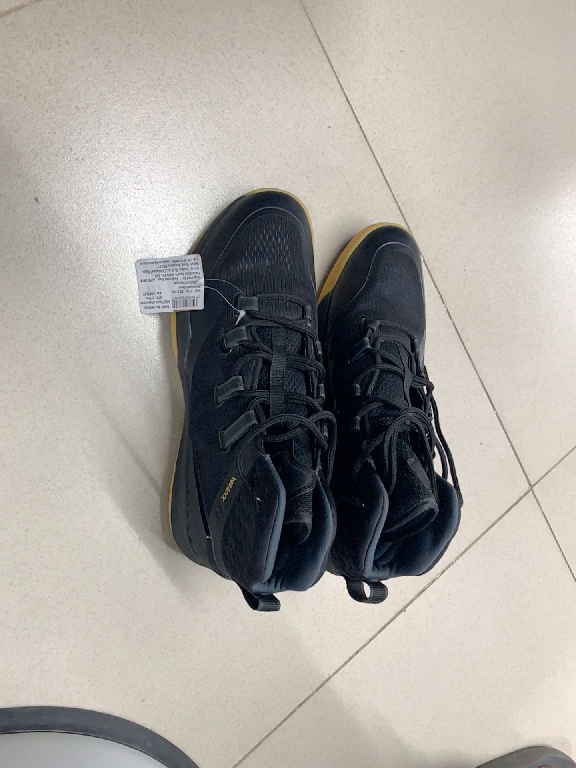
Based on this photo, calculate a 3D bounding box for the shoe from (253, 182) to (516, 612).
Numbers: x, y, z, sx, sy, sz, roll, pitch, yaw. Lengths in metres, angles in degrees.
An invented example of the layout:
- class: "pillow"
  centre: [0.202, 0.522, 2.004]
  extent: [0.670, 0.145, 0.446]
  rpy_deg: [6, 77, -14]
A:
- class: "shoe"
  centre: [0.071, 0.013, 0.461]
  extent: [0.110, 0.090, 0.290]
  rpy_deg: [14, 89, -24]

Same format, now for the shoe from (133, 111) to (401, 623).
- class: "shoe"
  centre: [-0.025, -0.007, 0.417]
  extent: [0.110, 0.140, 0.290]
  rpy_deg: [7, 92, -24]
